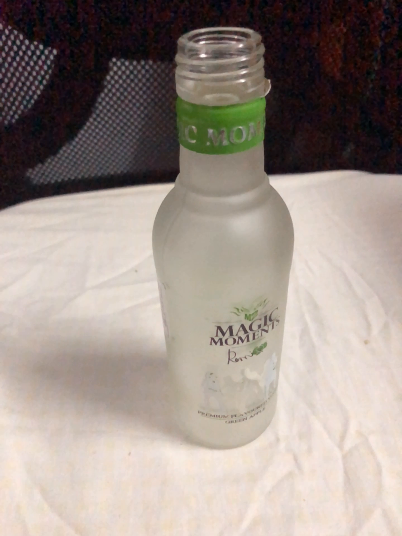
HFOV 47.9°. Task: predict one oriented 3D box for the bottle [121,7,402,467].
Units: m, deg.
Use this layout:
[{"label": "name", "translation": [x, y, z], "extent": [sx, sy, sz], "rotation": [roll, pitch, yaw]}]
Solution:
[{"label": "bottle", "translation": [0.014, 0.003, 0.173], "extent": [0.060, 0.169, 0.050], "rotation": [-11, 41, -12]}]
